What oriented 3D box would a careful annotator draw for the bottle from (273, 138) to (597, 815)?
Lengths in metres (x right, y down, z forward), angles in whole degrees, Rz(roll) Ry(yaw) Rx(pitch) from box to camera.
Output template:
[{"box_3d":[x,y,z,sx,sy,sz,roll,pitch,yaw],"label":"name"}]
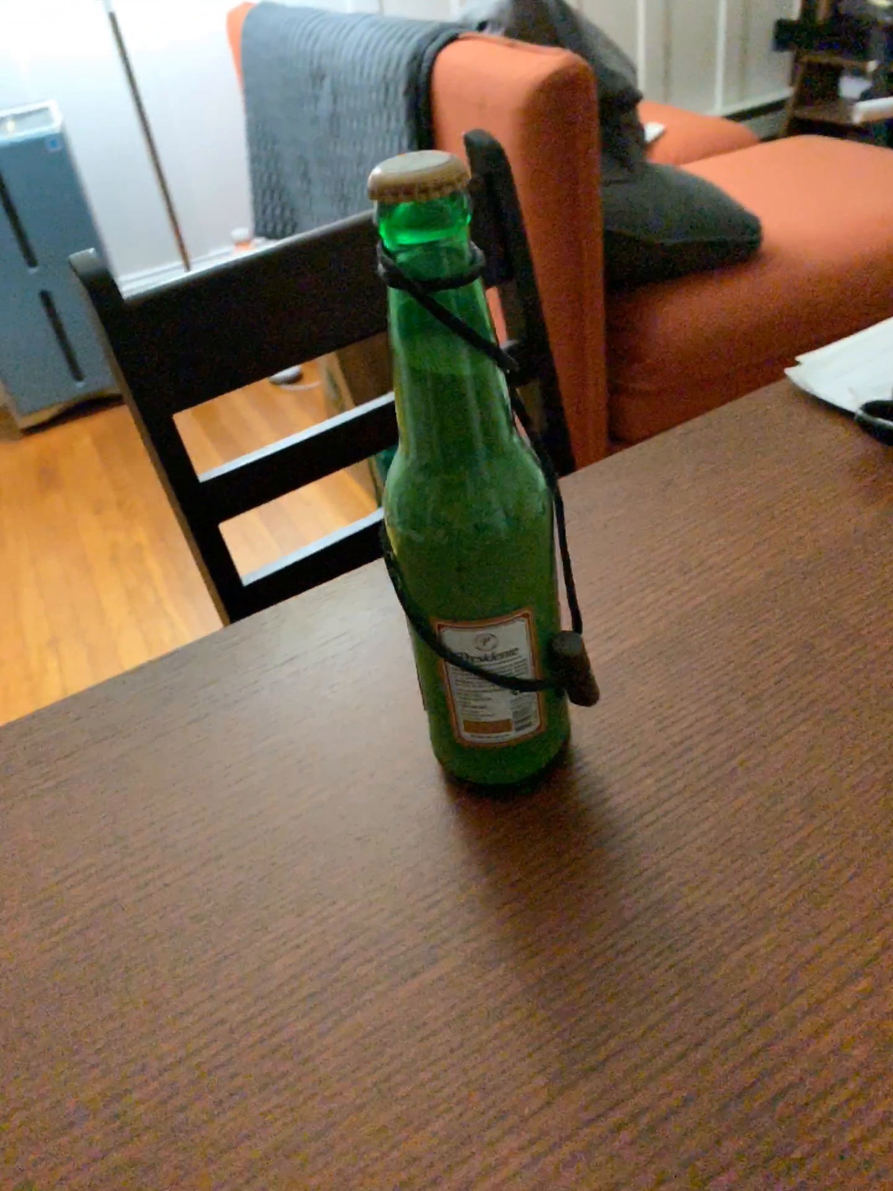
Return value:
[{"box_3d":[0.005,-0.028,0.345,0.080,0.238,0.070,-9,38,0],"label":"bottle"}]
